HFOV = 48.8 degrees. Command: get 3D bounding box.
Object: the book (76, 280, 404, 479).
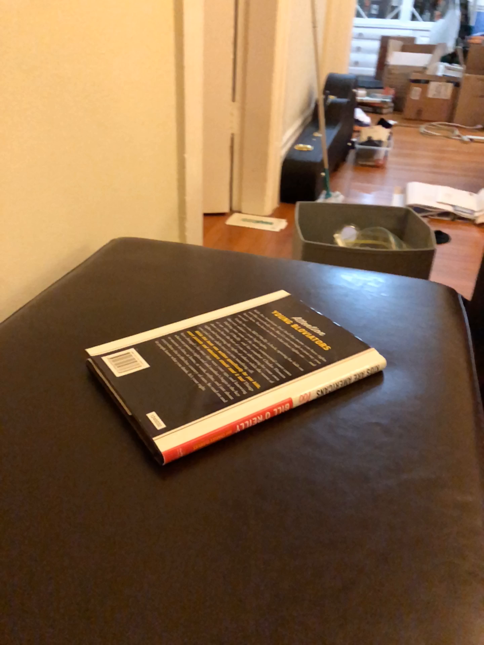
[{"bbox_3d":[-0.001,0.029,0.459,0.231,0.020,0.161,-18,36,-31],"label":"book"}]
